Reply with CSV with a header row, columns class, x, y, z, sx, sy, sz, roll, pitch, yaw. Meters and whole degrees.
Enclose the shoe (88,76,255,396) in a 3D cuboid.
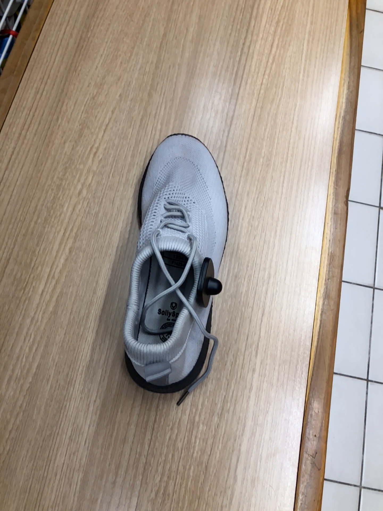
class,x,y,z,sx,sy,sz,roll,pitch,yaw
shoe,-0.012,-0.012,0.399,0.106,0.122,0.265,7,71,-3
